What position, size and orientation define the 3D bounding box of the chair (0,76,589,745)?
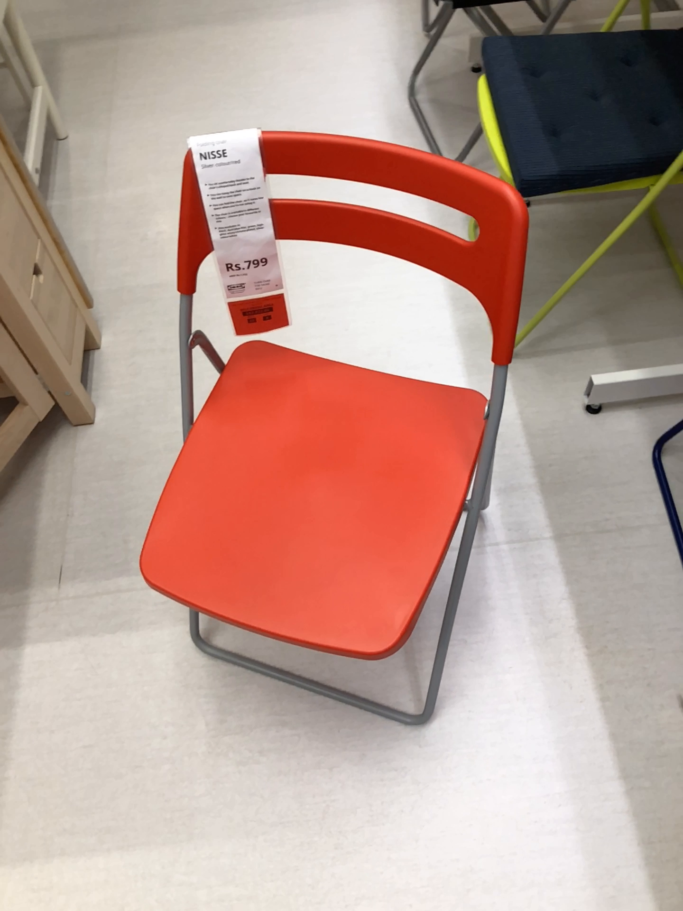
[{"bbox_3d":[-0.026,0.004,0.926,0.440,0.677,0.422,15,61,14],"label":"chair"}]
